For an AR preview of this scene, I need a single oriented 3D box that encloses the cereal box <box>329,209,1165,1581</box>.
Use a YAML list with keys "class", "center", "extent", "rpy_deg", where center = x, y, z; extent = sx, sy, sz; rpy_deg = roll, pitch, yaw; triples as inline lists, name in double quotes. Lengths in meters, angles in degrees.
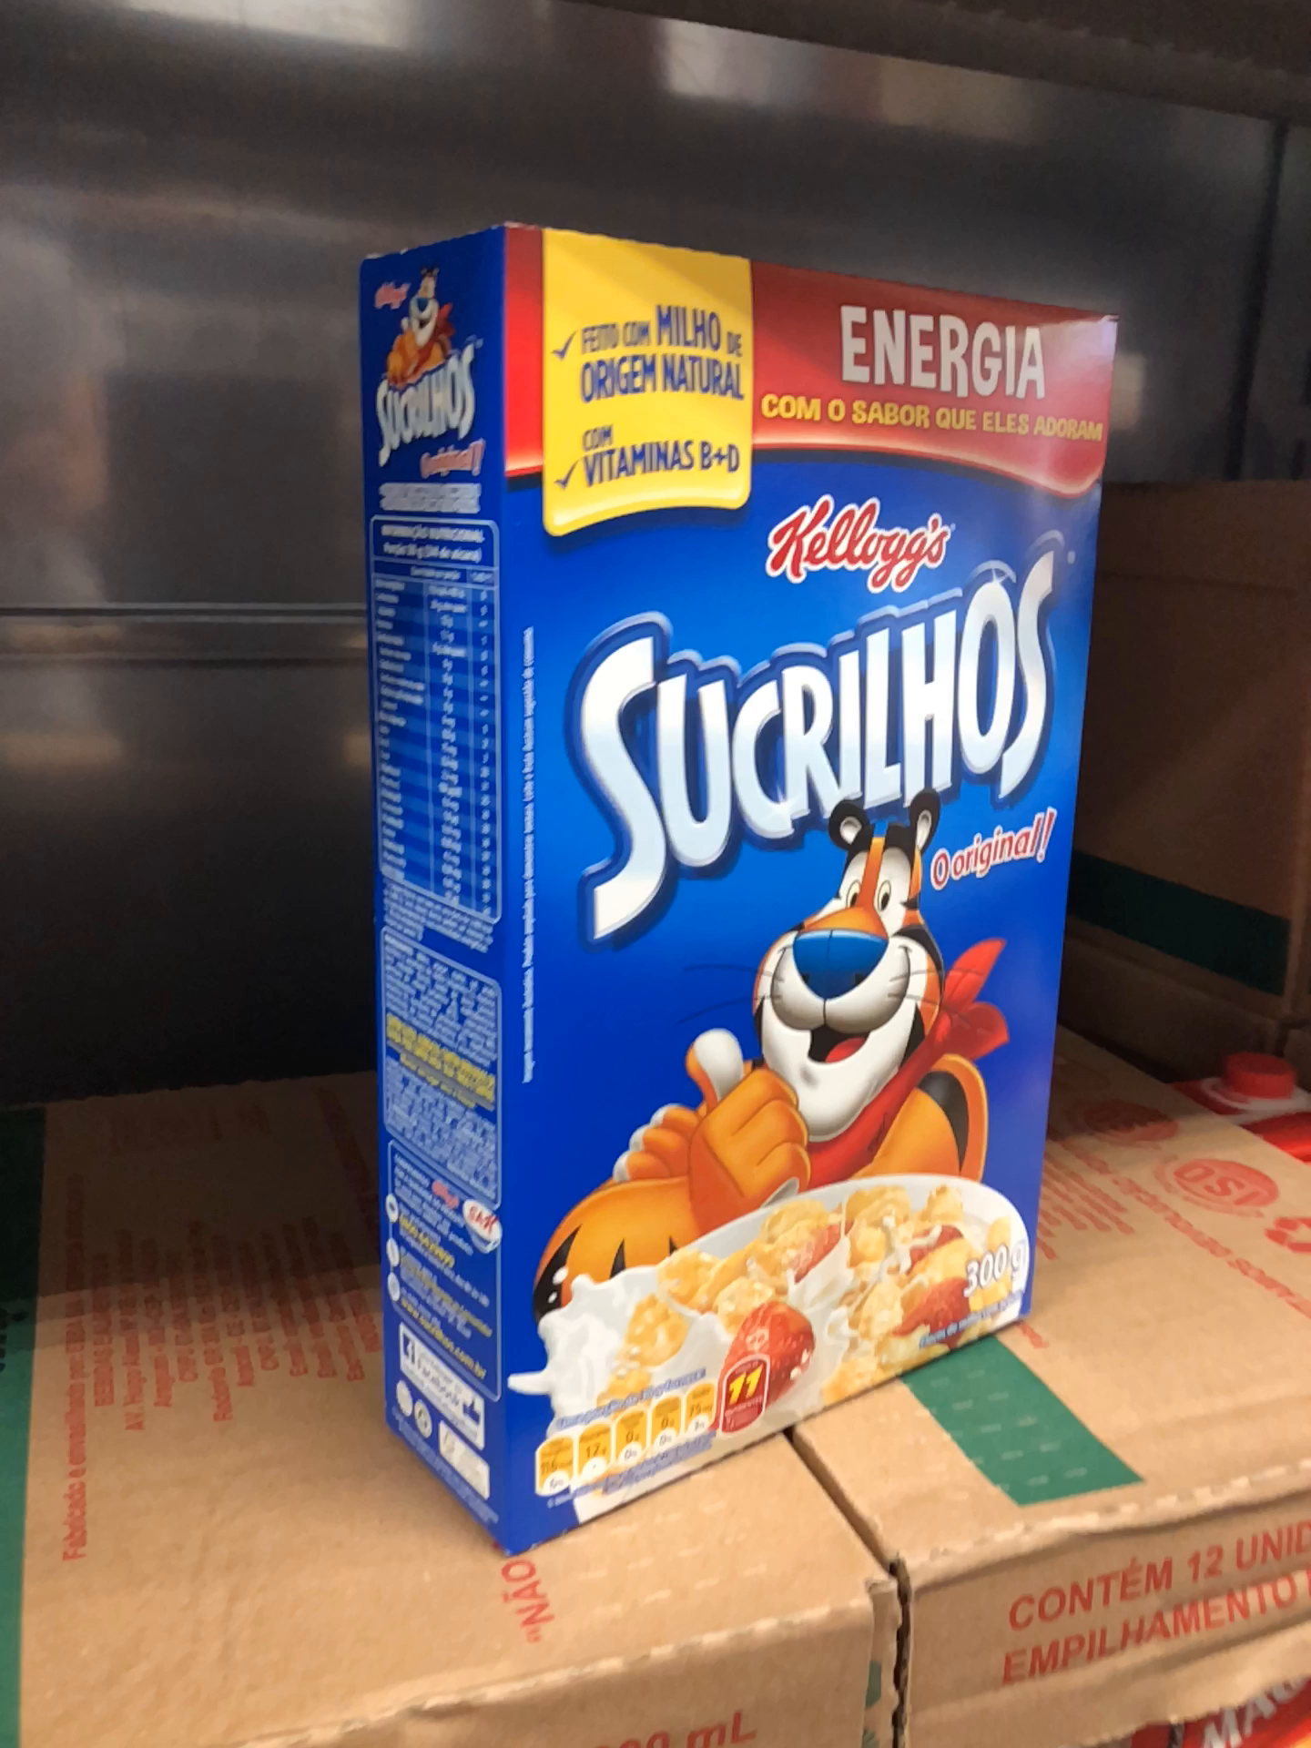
- class: "cereal box"
  center: [0.023, 0.000, 0.327]
  extent: [0.170, 0.249, 0.060]
  rpy_deg: [-9, 18, -35]
